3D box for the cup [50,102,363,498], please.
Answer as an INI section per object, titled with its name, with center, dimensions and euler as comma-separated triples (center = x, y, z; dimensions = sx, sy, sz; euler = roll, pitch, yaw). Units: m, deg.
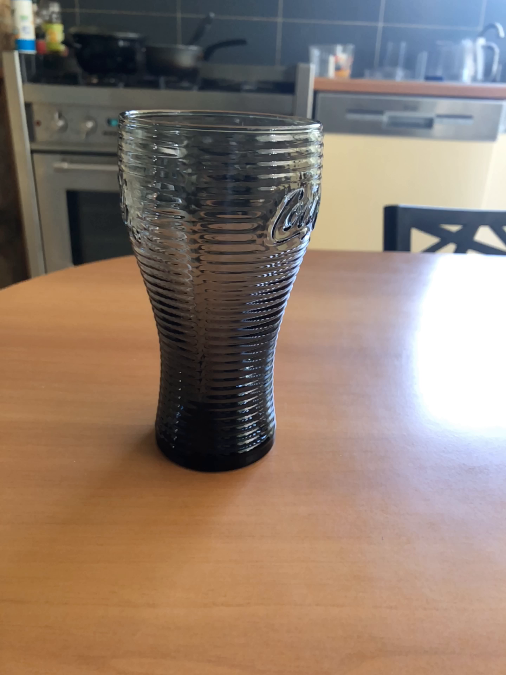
[cup]
center = -0.018, -0.024, 0.232
dimensions = 0.080, 0.129, 0.080
euler = 2, 24, -1
